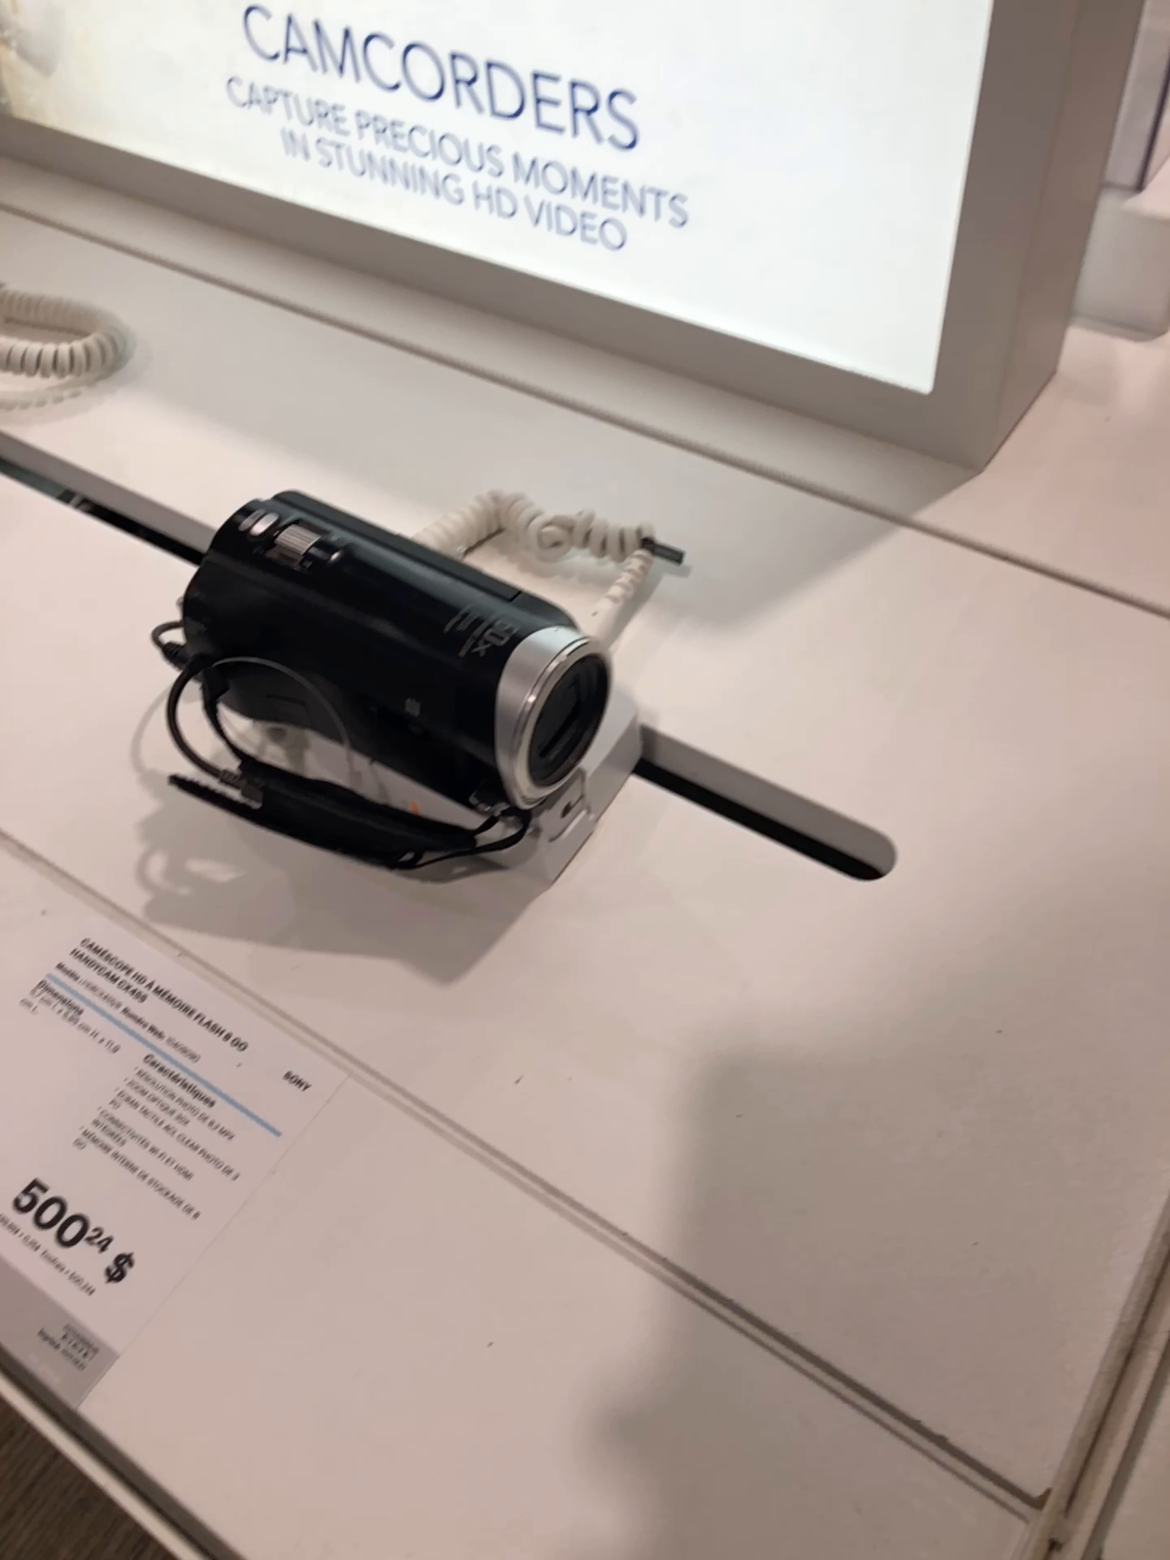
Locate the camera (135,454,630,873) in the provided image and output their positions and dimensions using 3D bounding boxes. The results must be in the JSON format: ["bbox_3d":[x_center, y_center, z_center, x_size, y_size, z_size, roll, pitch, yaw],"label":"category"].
[{"bbox_3d":[-0.055,-0.036,0.367,0.121,0.058,0.057,25,58,23],"label":"camera"}]
